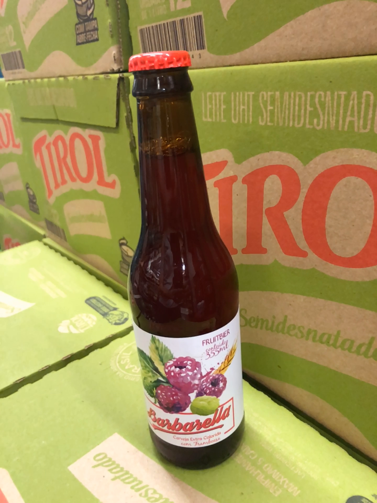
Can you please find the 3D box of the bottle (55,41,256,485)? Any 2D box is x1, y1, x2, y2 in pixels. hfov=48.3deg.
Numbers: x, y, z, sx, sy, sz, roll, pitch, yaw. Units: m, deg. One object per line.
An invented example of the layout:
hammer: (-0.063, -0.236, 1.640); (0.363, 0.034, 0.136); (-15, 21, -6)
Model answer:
bottle: (-0.002, 0.018, 0.226); (0.070, 0.228, 0.060); (-2, 24, 7)
